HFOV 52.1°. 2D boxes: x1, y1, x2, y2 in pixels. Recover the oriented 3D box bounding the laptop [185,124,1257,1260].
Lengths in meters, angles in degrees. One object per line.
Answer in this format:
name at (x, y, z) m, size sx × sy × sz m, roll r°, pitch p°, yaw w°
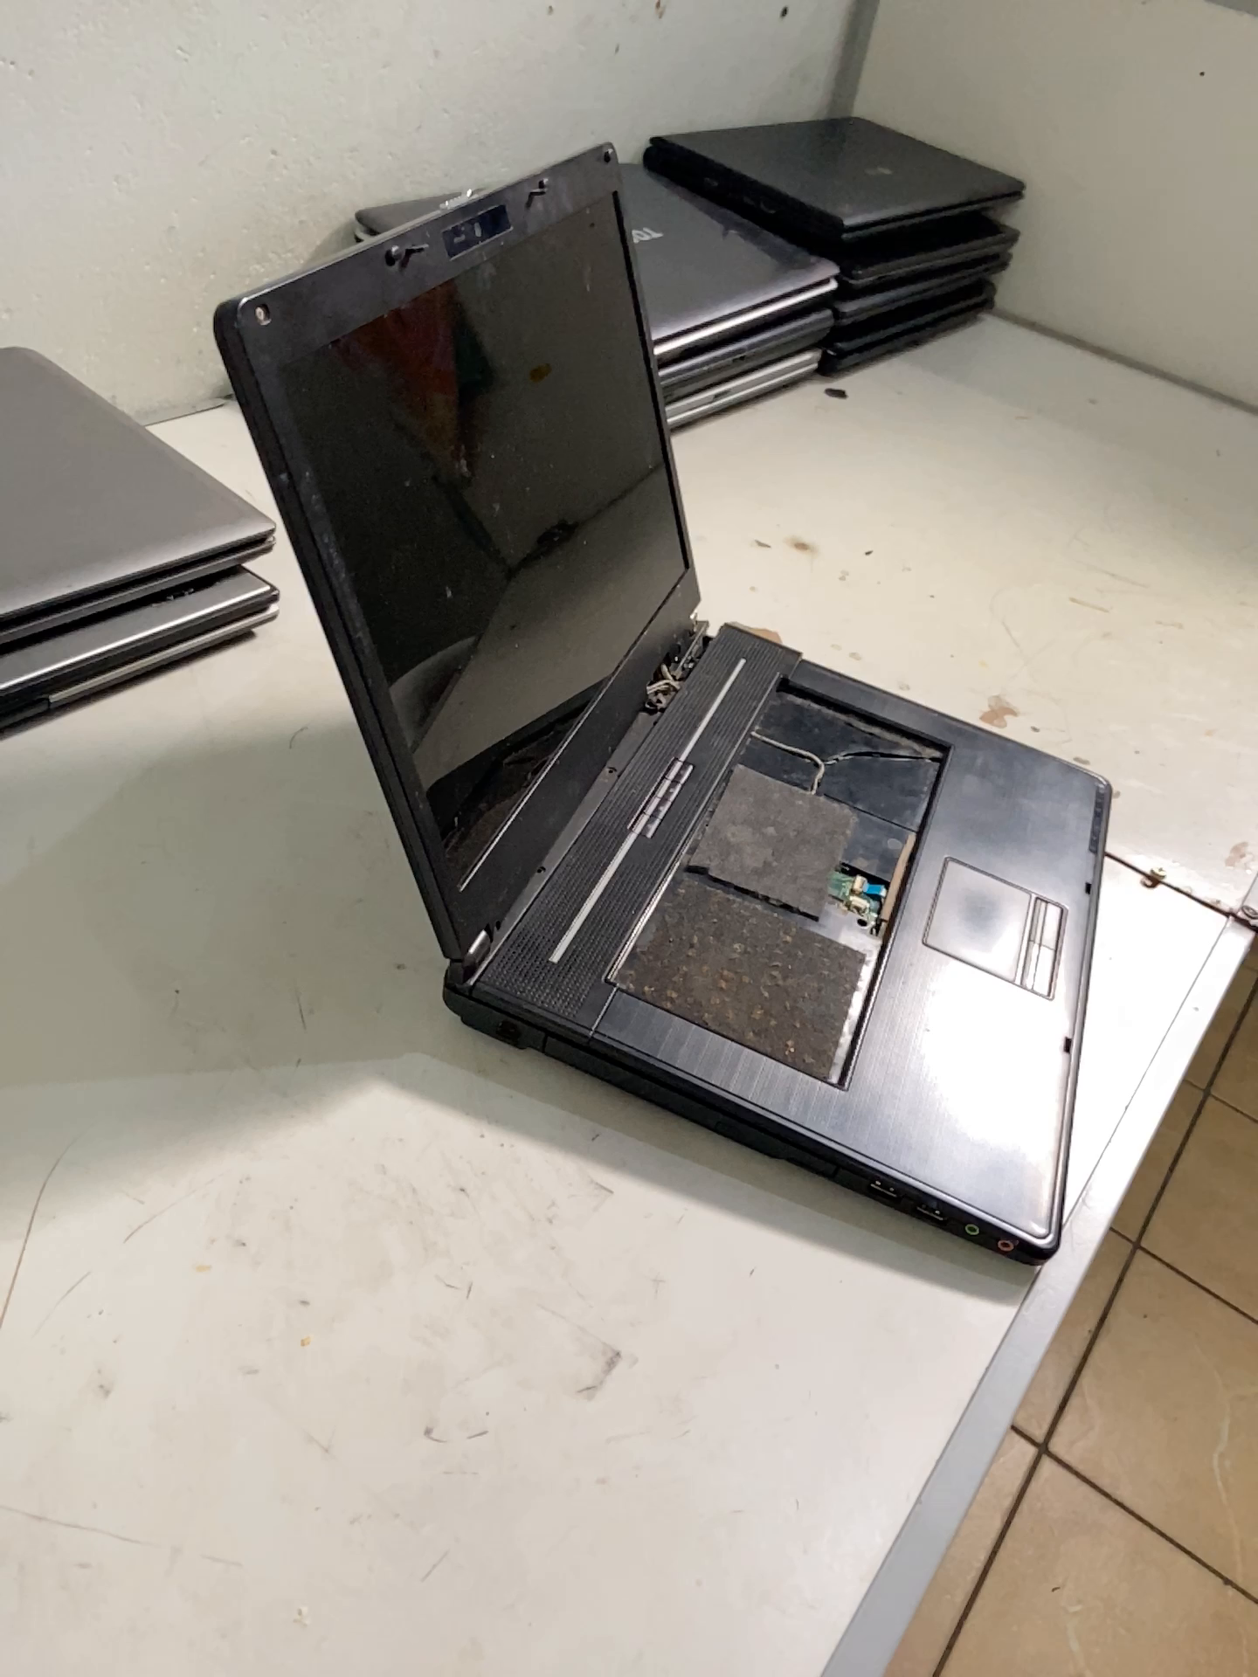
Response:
laptop at (0.073, -0.103, 0.578) m, size 0.379 × 0.235 × 0.346 m, roll 23°, pitch 41°, yaw 9°
